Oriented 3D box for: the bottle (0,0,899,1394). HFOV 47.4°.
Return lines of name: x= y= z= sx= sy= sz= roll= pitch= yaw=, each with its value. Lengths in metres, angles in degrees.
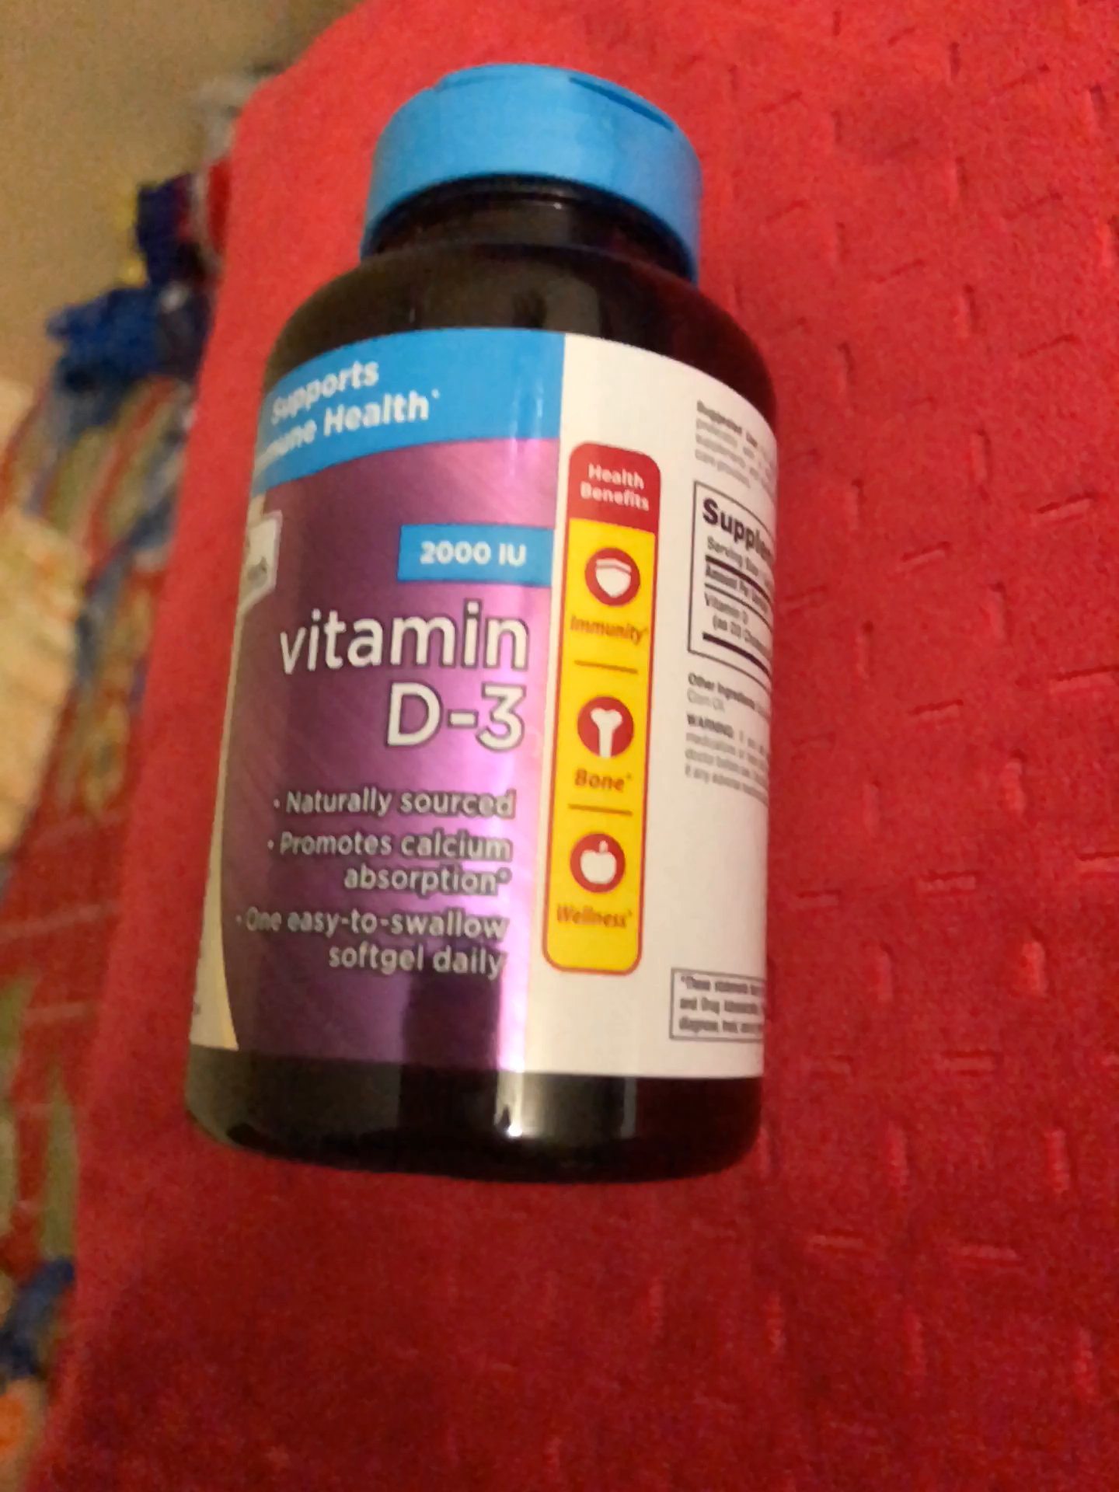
bottle: x=-0.011 y=-0.018 z=0.142 sx=0.070 sy=0.060 sz=0.140 roll=-9 pitch=75 yaw=45
